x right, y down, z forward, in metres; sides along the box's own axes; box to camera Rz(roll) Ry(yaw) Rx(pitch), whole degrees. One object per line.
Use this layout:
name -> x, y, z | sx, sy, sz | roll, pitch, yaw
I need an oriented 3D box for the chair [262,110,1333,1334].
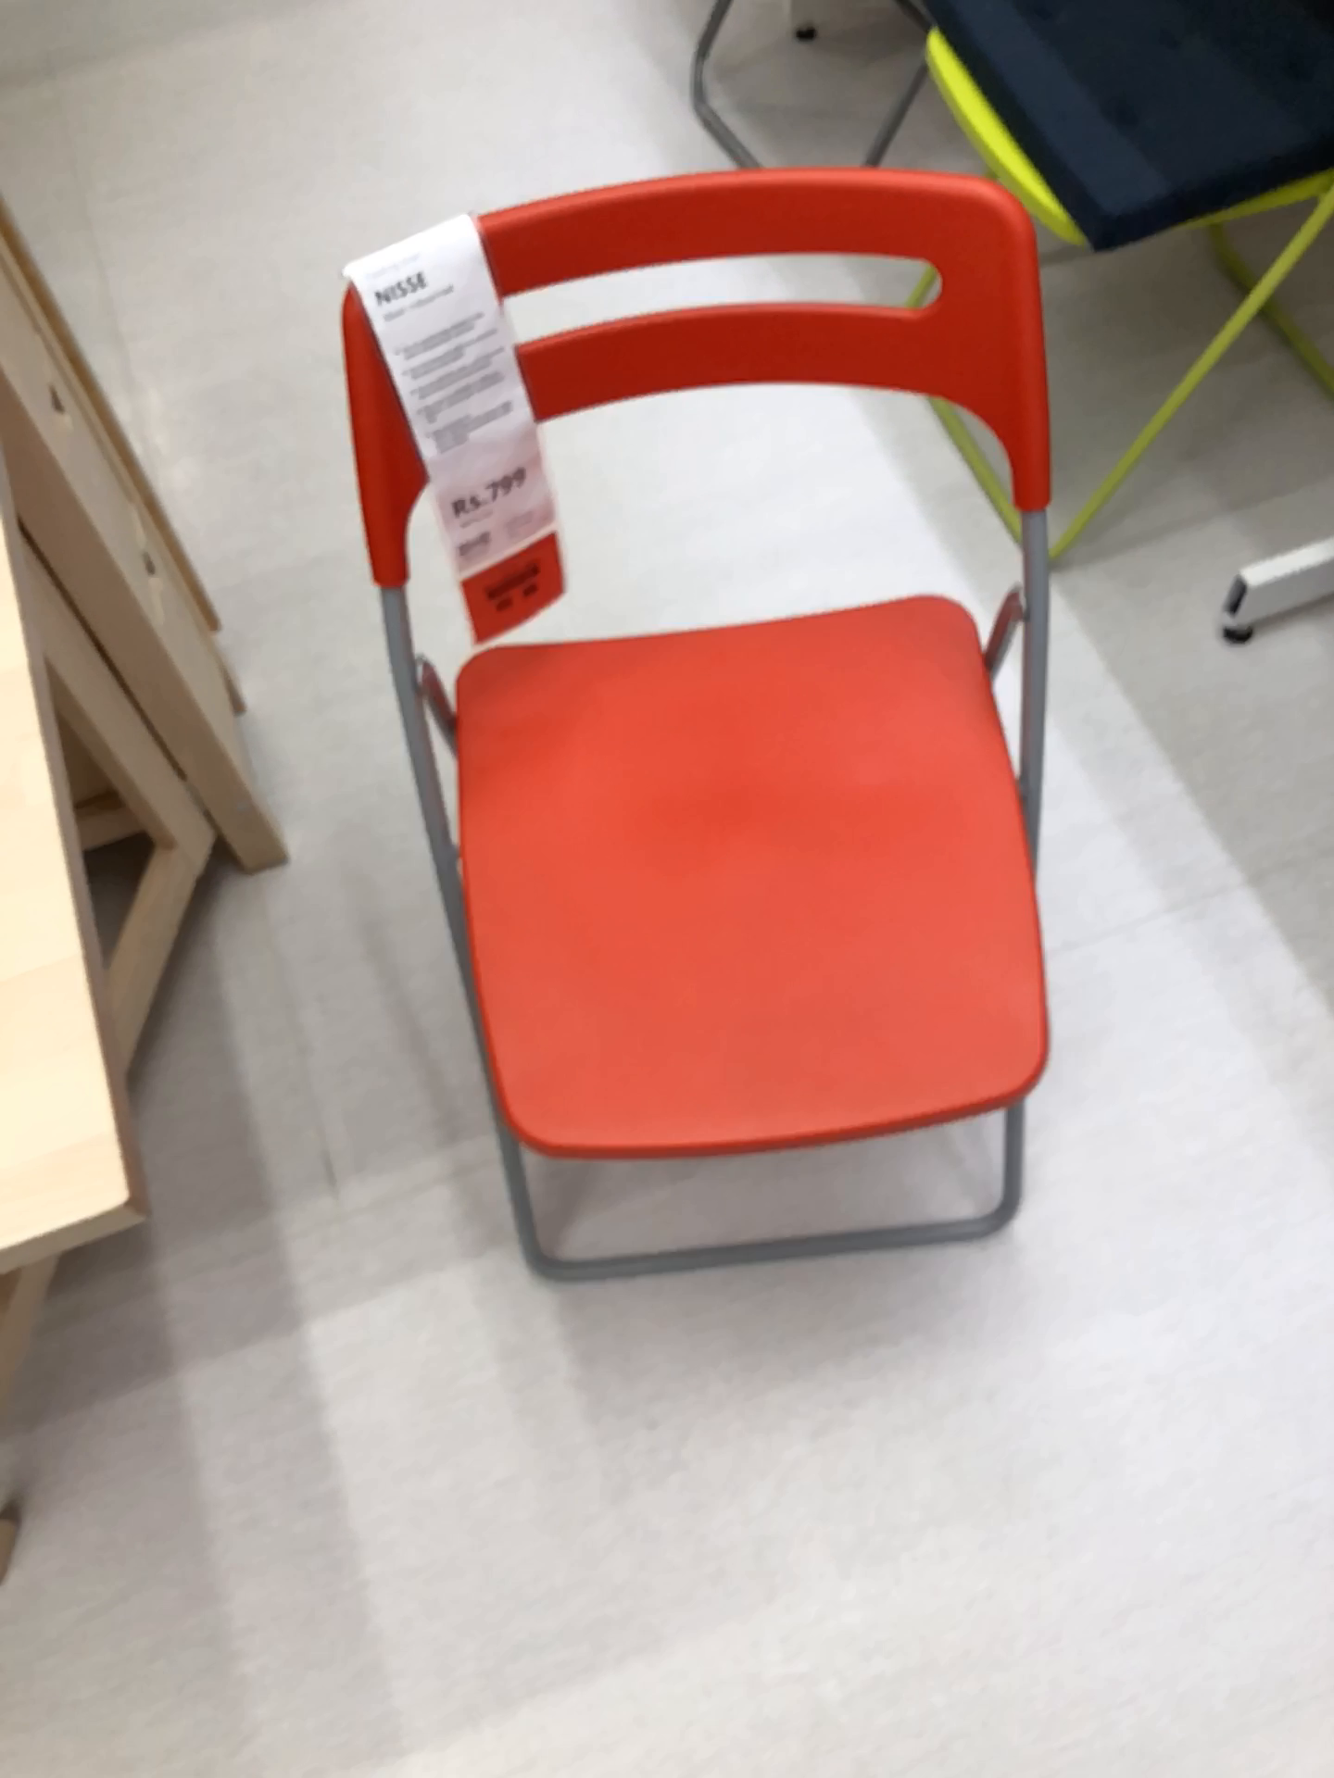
chair -> 0.055, -0.050, 0.979 | 0.450, 0.607, 0.492 | -7, 61, 0
